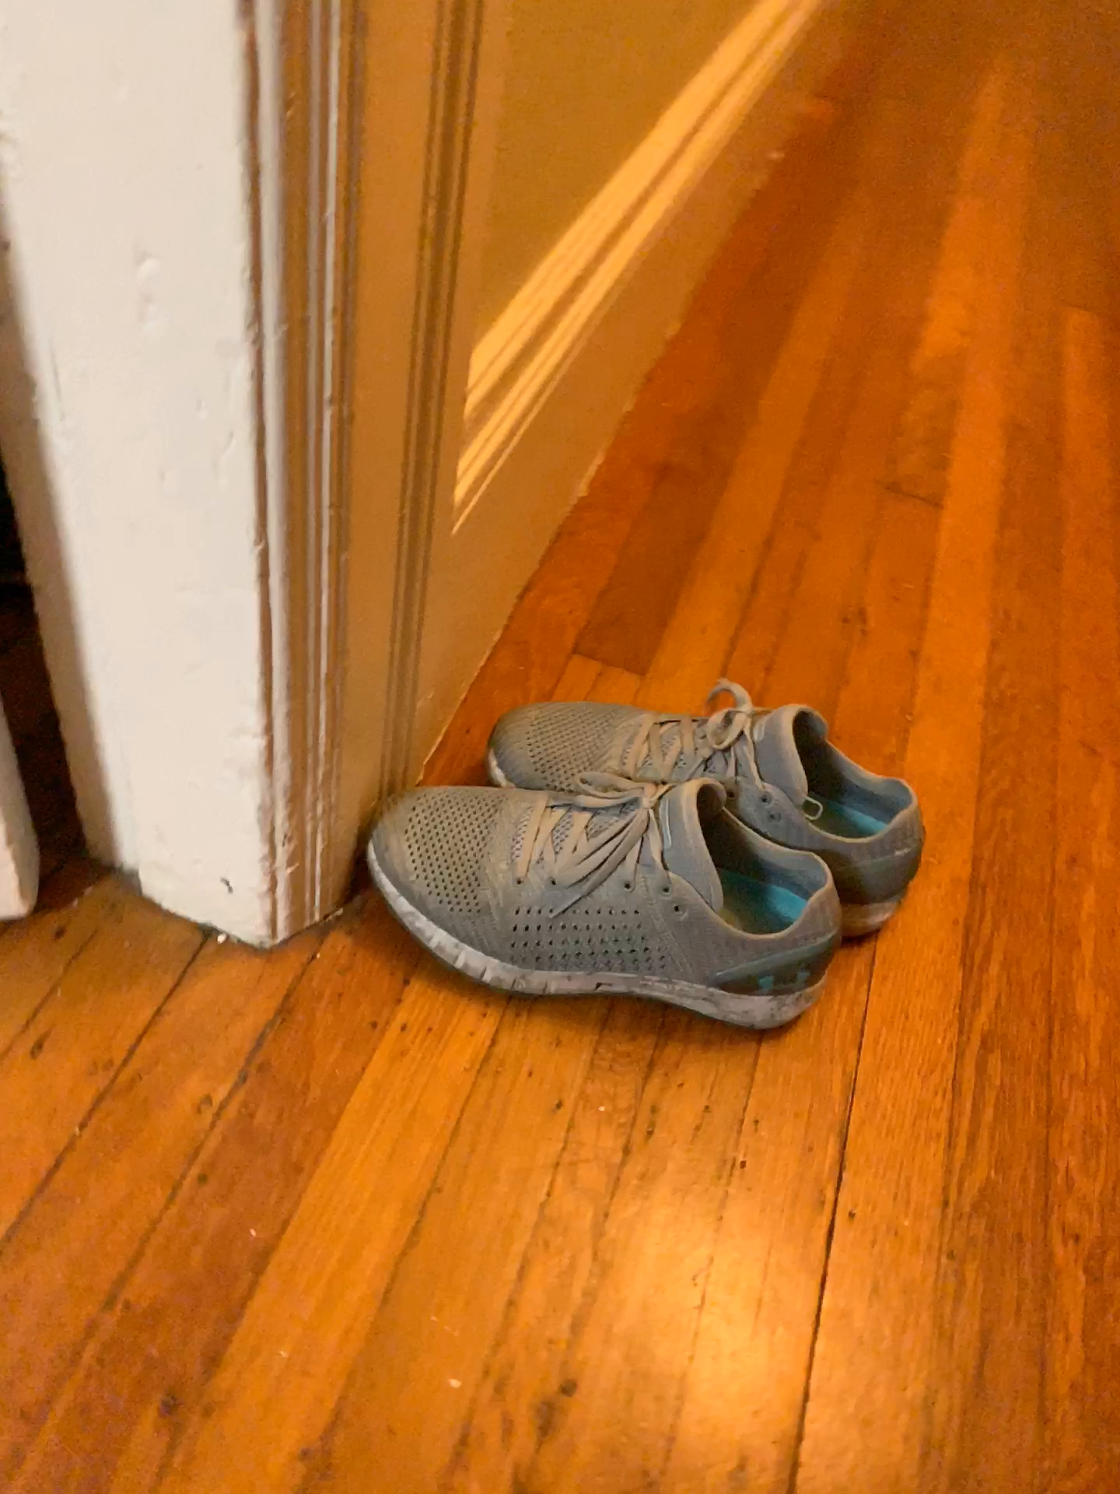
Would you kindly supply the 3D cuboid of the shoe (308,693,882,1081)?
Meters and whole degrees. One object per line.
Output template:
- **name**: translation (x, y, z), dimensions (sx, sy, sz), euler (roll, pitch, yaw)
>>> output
- **shoe**: translation (0.018, 0.069, 0.573), dimensions (0.260, 0.080, 0.111), euler (13, 46, -1)

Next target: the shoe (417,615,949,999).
- **shoe**: translation (0.069, 0.031, 0.647), dimensions (0.270, 0.090, 0.111), euler (17, 47, 3)
